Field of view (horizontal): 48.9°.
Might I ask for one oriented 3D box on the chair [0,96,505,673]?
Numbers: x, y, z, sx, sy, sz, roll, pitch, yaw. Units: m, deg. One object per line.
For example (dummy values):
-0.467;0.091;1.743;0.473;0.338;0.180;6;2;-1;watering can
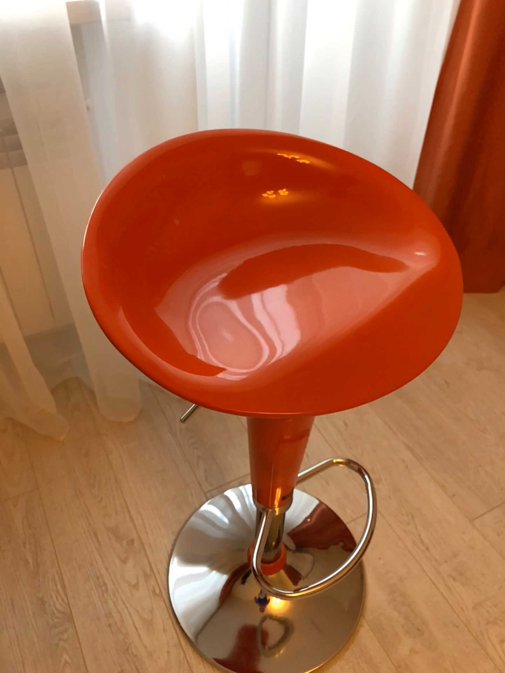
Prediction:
0.038;0.143;0.766;0.420;0.725;0.413;21;45;20;chair
